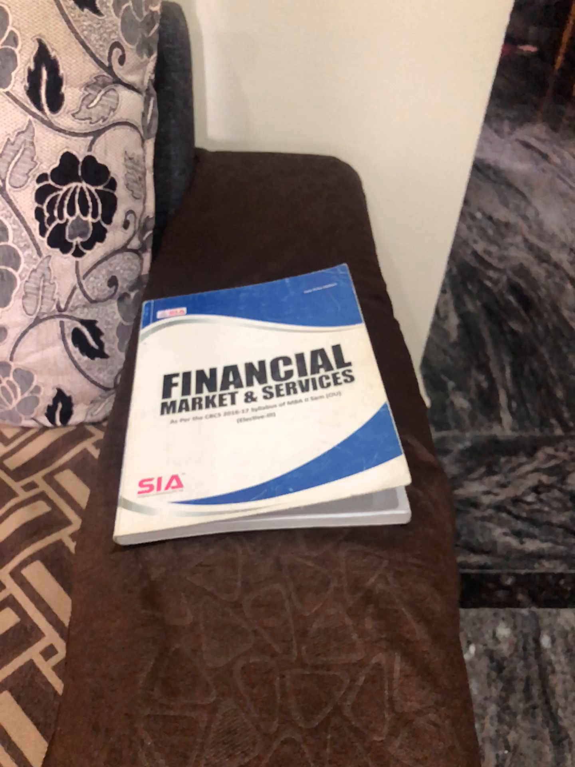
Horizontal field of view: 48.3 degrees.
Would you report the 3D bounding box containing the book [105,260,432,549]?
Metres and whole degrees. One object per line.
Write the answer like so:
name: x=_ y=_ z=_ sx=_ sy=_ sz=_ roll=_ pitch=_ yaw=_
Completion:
book: x=-0.028 y=-0.007 z=0.554 sx=0.220 sy=0.040 sz=0.301 roll=-3 pitch=42 yaw=-7
